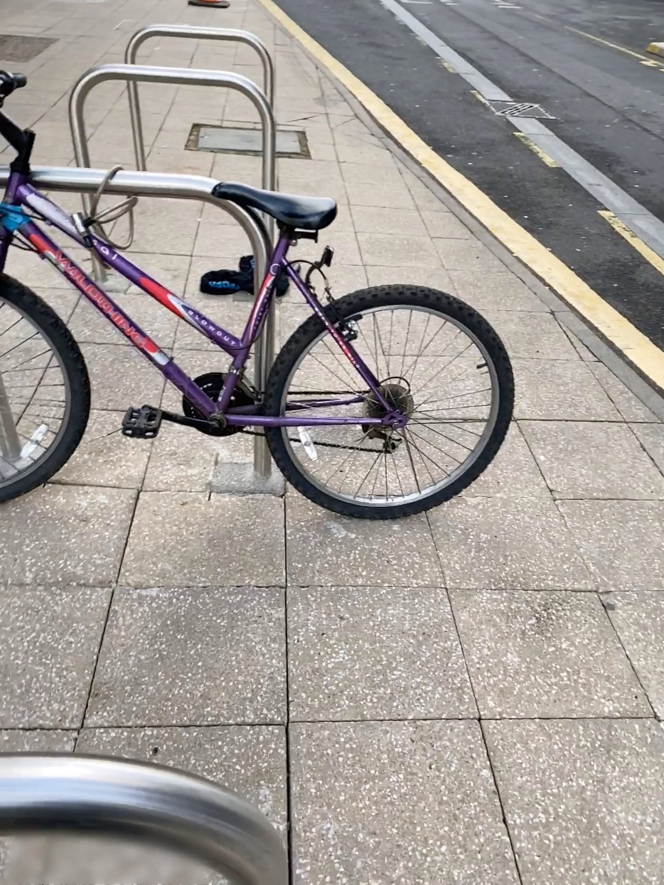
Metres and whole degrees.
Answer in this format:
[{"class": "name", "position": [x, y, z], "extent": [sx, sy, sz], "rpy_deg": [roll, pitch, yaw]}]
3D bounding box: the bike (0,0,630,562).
[{"class": "bike", "position": [-0.375, -0.317, 1.618], "extent": [1.732, 1.042, 0.585], "rpy_deg": [-1, 38, -9]}]
